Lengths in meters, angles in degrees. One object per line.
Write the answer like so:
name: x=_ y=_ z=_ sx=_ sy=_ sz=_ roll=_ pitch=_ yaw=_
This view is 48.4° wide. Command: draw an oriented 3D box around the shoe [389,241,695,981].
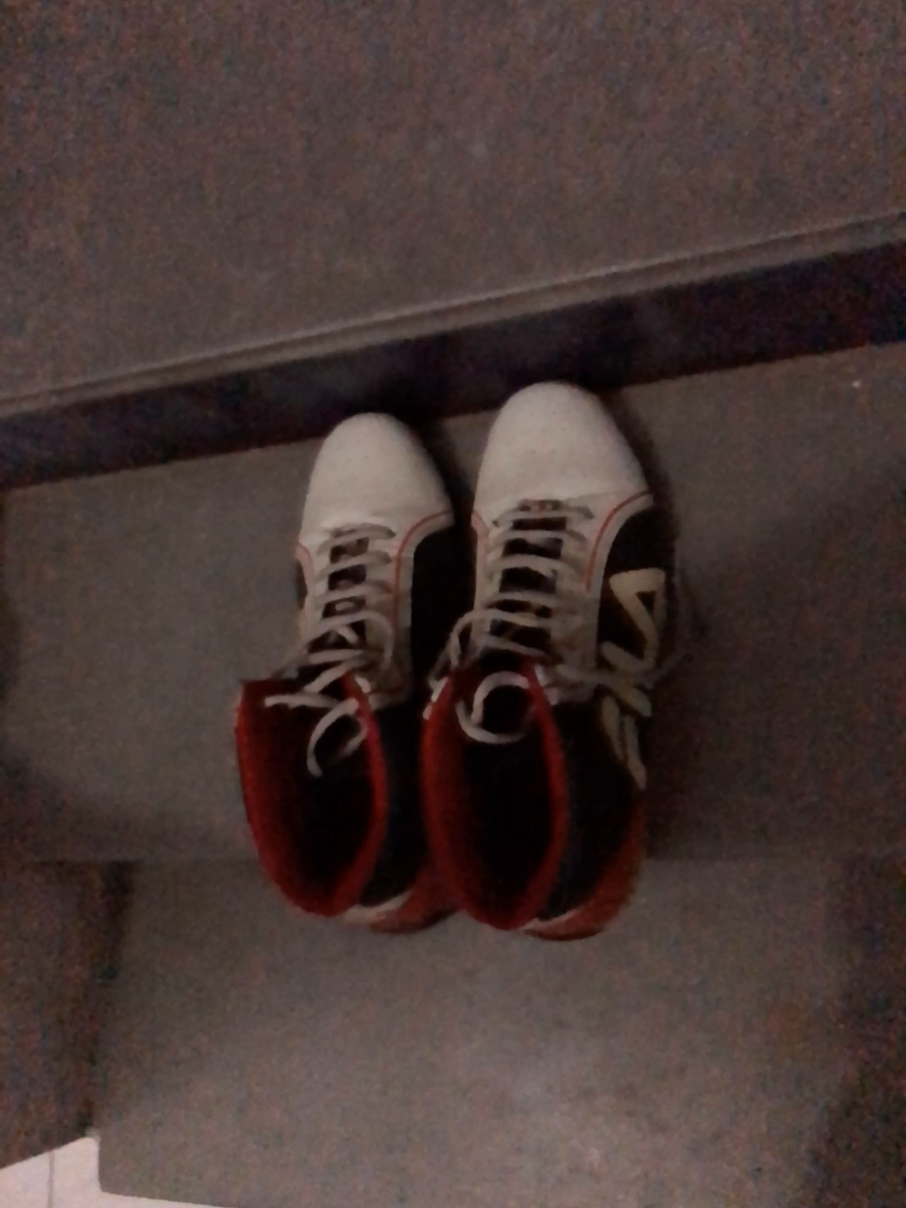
shoe: x=0.043 y=0.005 z=0.477 sx=0.110 sy=0.100 sz=0.310 roll=-5 pitch=76 yaw=21

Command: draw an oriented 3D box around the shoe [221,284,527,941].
shoe: x=-0.039 y=0.011 z=0.536 sx=0.110 sy=0.120 sz=0.310 roll=-7 pitch=75 yaw=20
